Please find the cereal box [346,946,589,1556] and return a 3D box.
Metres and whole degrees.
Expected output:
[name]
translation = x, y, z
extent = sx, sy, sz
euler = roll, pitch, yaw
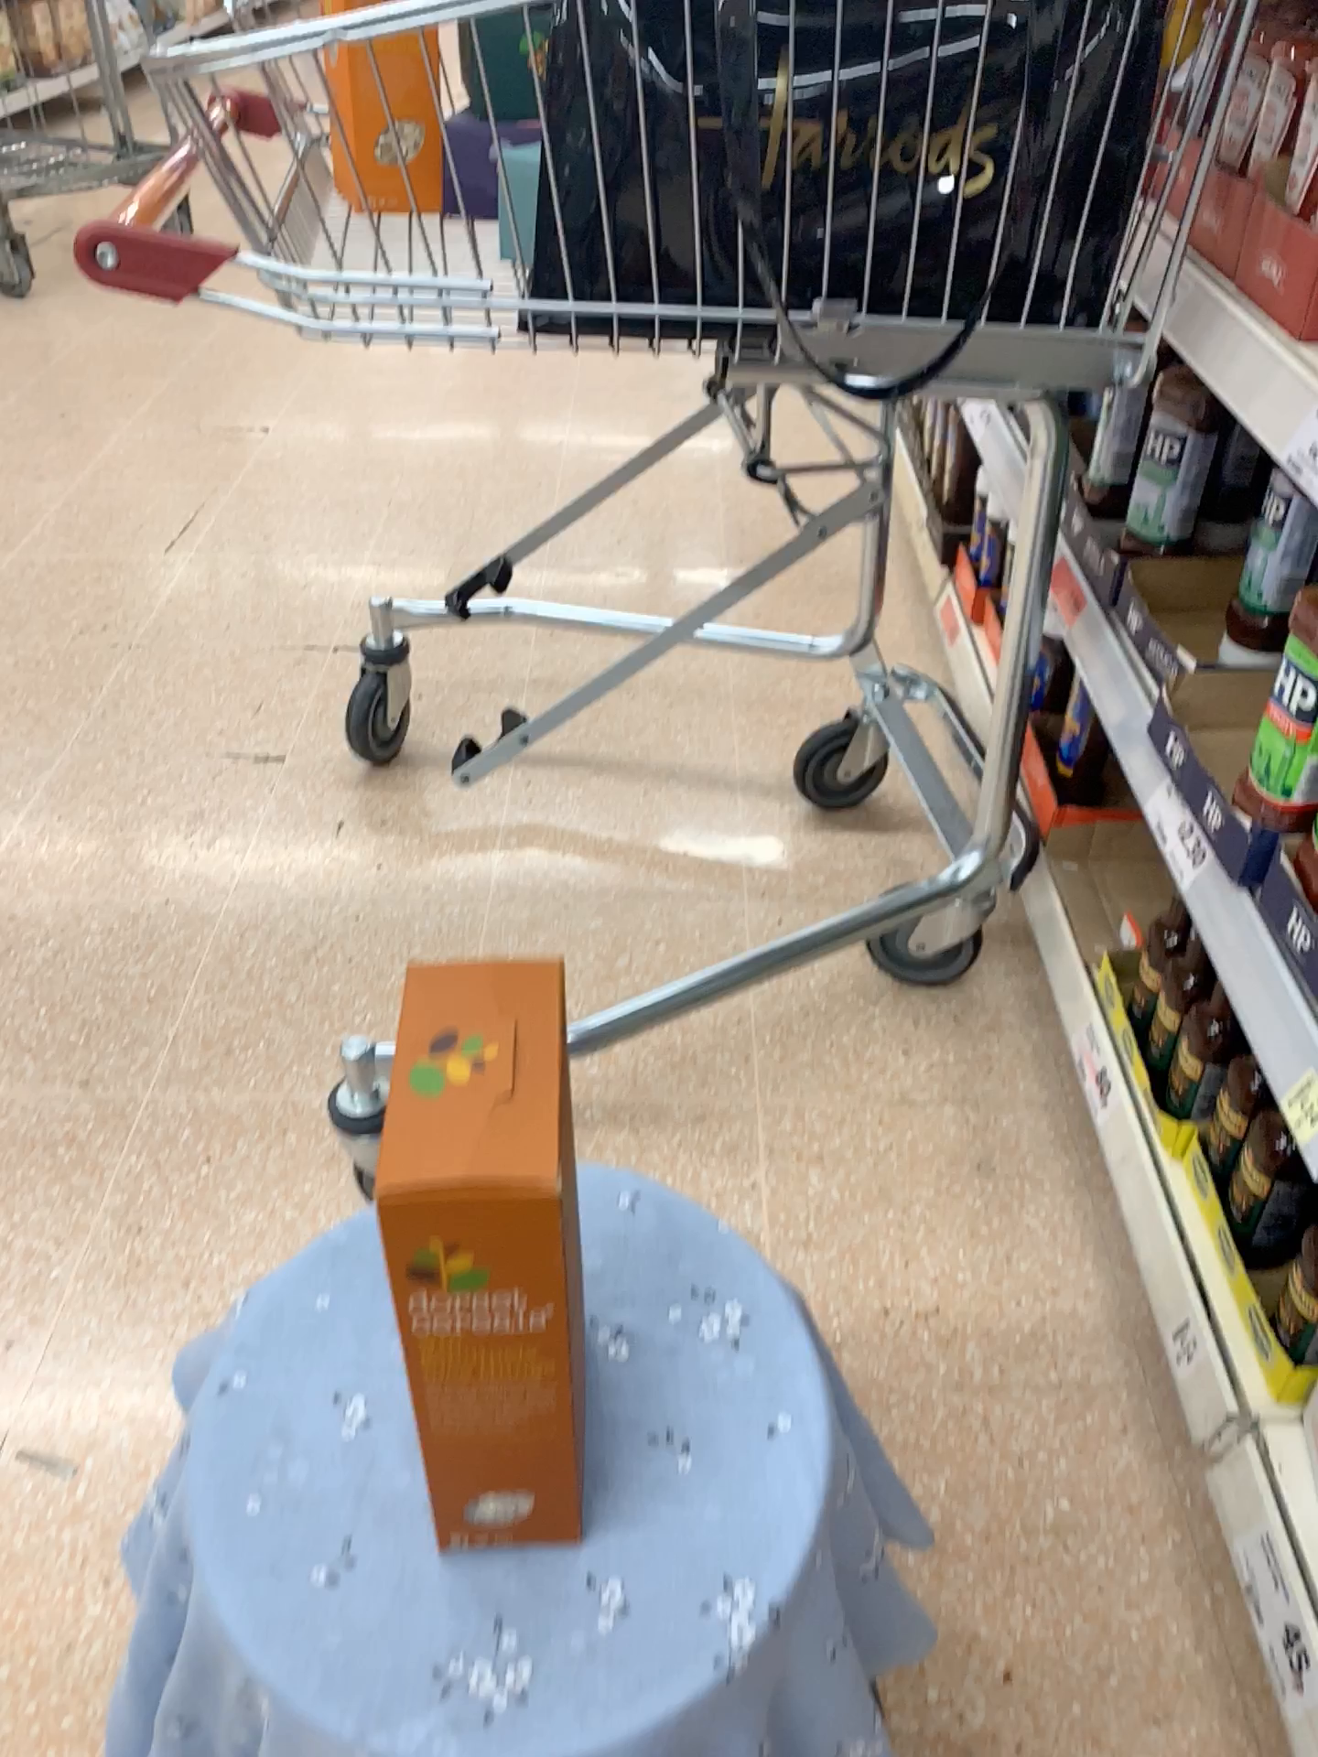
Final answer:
[cereal box]
translation = -0.068, 0.154, 0.542
extent = 0.070, 0.228, 0.121
euler = -2, 38, -3
